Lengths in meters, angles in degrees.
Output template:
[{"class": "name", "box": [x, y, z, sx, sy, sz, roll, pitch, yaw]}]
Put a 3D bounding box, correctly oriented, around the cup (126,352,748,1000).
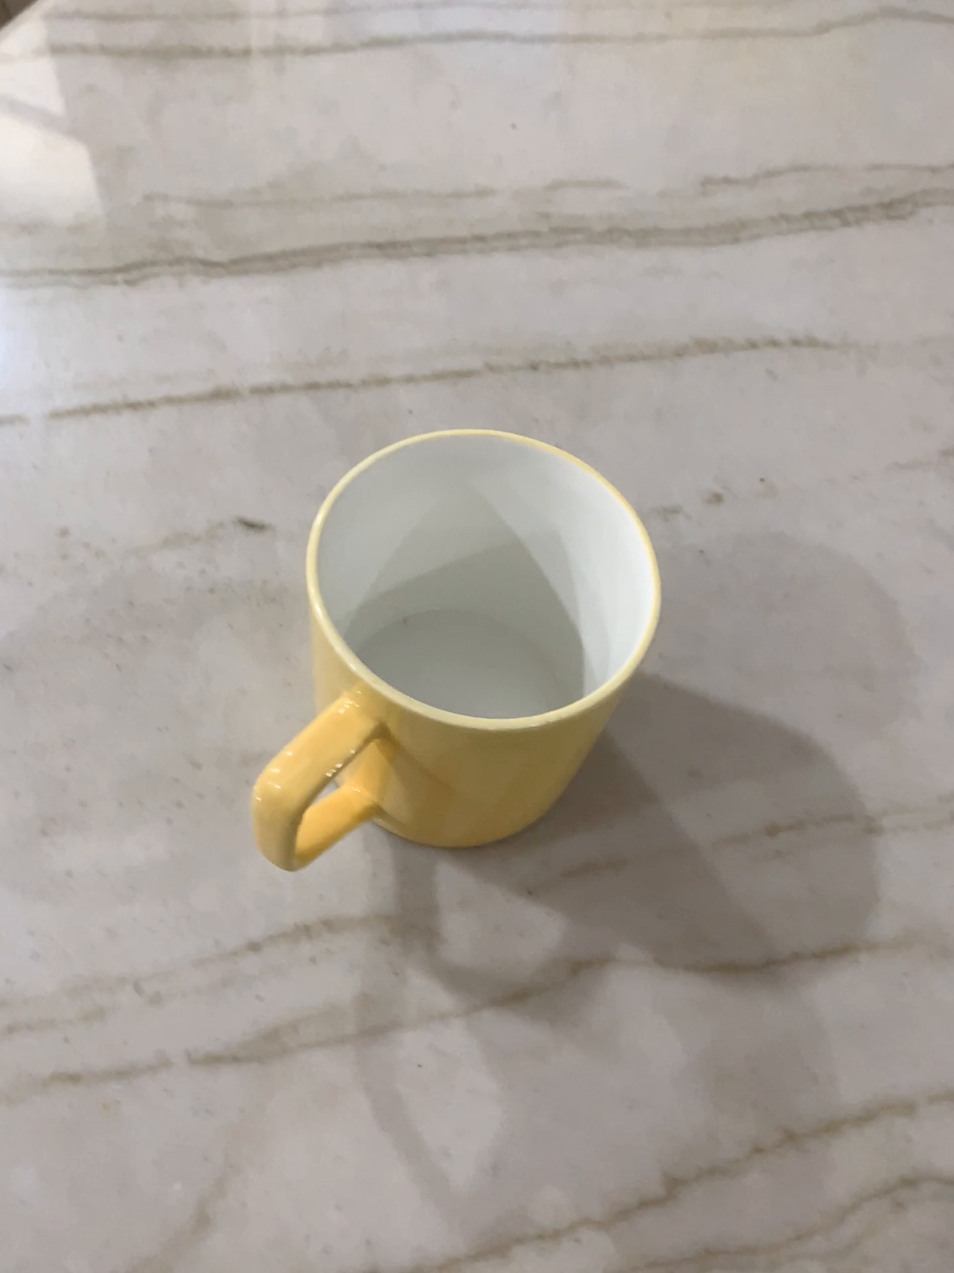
[{"class": "cup", "box": [-0.007, 0.009, 0.232, 0.074, 0.074, 0.110, 35, 62, 12]}]
